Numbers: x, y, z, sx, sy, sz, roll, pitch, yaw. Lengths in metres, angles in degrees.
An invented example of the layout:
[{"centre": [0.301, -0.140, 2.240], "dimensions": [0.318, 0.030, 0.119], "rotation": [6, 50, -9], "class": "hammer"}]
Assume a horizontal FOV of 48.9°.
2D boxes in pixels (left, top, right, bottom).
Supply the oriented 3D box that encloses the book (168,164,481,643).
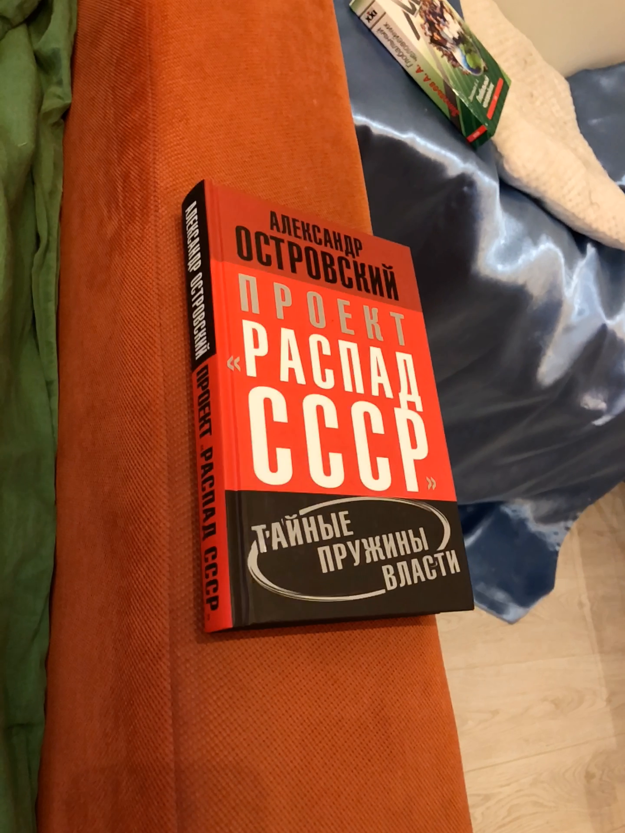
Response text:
[{"centre": [0.004, -0.007, 0.330], "dimensions": [0.136, 0.030, 0.207], "rotation": [8, 66, -35], "class": "book"}]
